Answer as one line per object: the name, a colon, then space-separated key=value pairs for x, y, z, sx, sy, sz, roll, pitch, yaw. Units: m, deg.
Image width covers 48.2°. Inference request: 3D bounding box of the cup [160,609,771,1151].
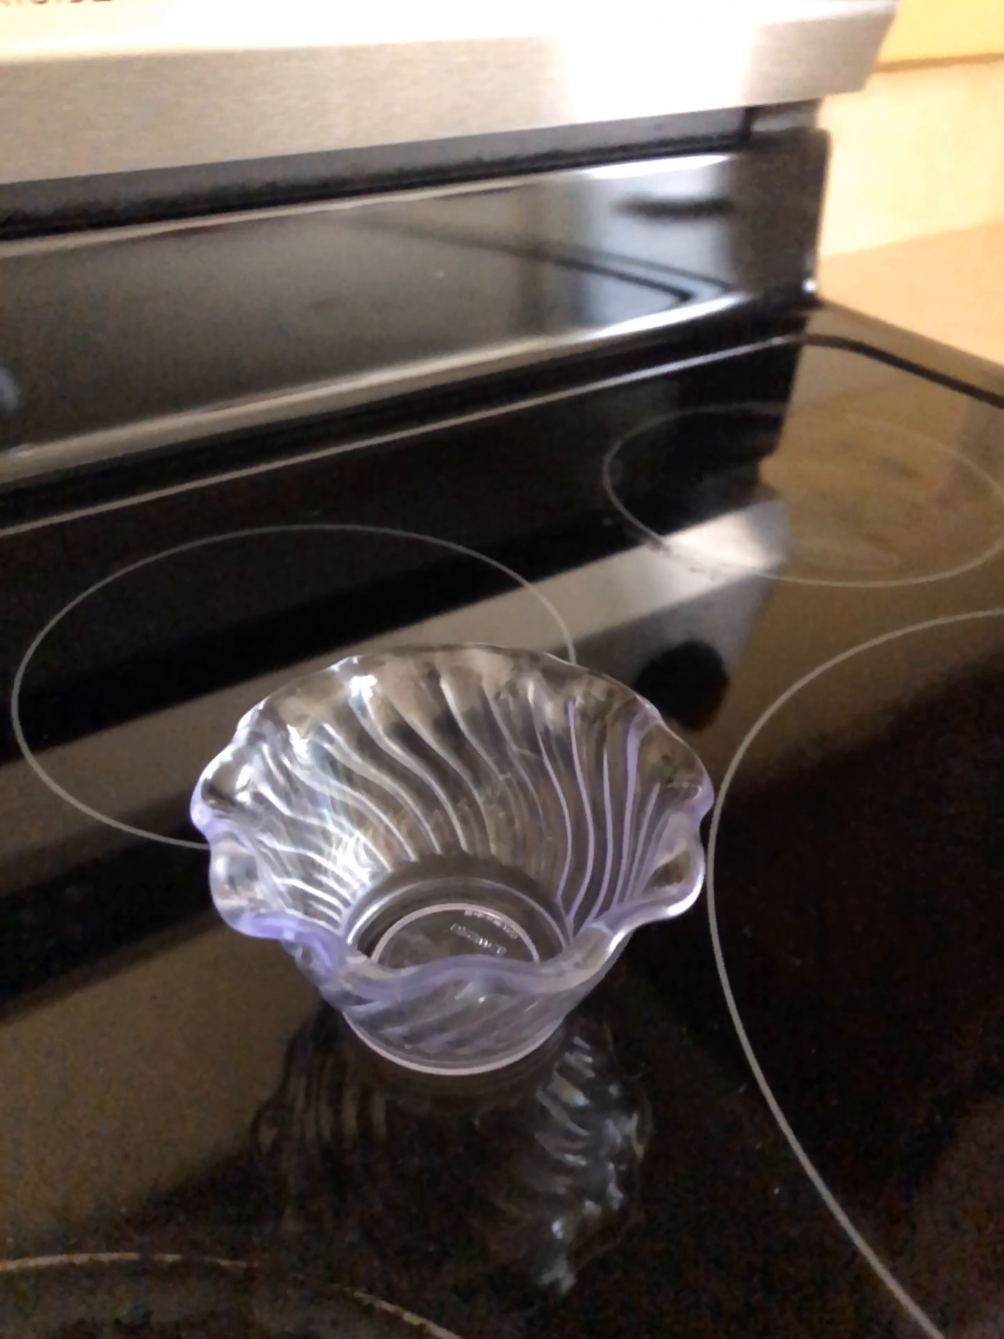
cup: x=-0.009 y=0.034 z=0.218 sx=0.091 sy=0.049 sz=0.091 roll=1 pitch=35 yaw=-1
